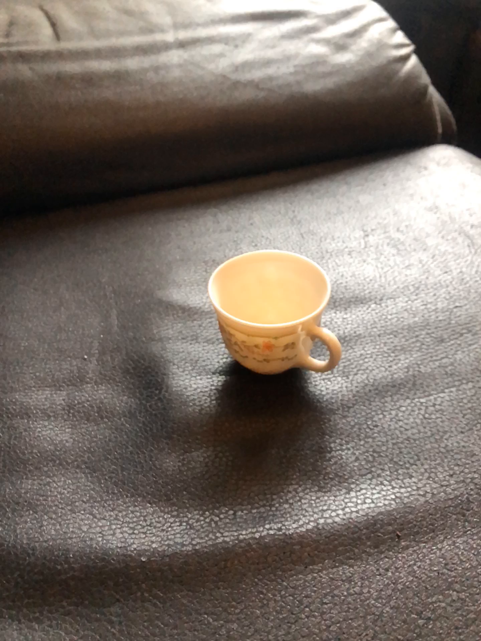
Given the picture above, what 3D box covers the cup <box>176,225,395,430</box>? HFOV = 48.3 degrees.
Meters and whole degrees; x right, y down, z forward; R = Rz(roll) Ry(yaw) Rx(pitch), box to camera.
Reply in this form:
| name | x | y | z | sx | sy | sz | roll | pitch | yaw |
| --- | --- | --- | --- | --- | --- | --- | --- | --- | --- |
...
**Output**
| name | x | y | z | sx | sy | sz | roll | pitch | yaw |
| --- | --- | --- | --- | --- | --- | --- | --- | --- | --- |
| cup | 0.022 | -0.001 | 0.281 | 0.084 | 0.050 | 0.069 | 30 | 48 | 31 |
